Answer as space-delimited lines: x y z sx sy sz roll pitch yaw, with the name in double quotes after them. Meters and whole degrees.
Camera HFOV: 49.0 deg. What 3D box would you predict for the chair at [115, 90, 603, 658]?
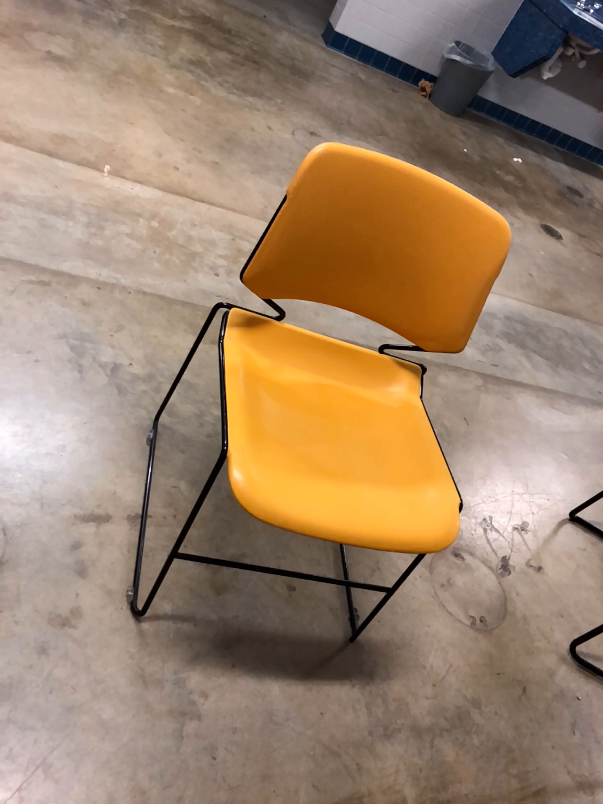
0.064 -0.001 1.250 0.578 0.735 0.618 15 42 -20 "chair"
